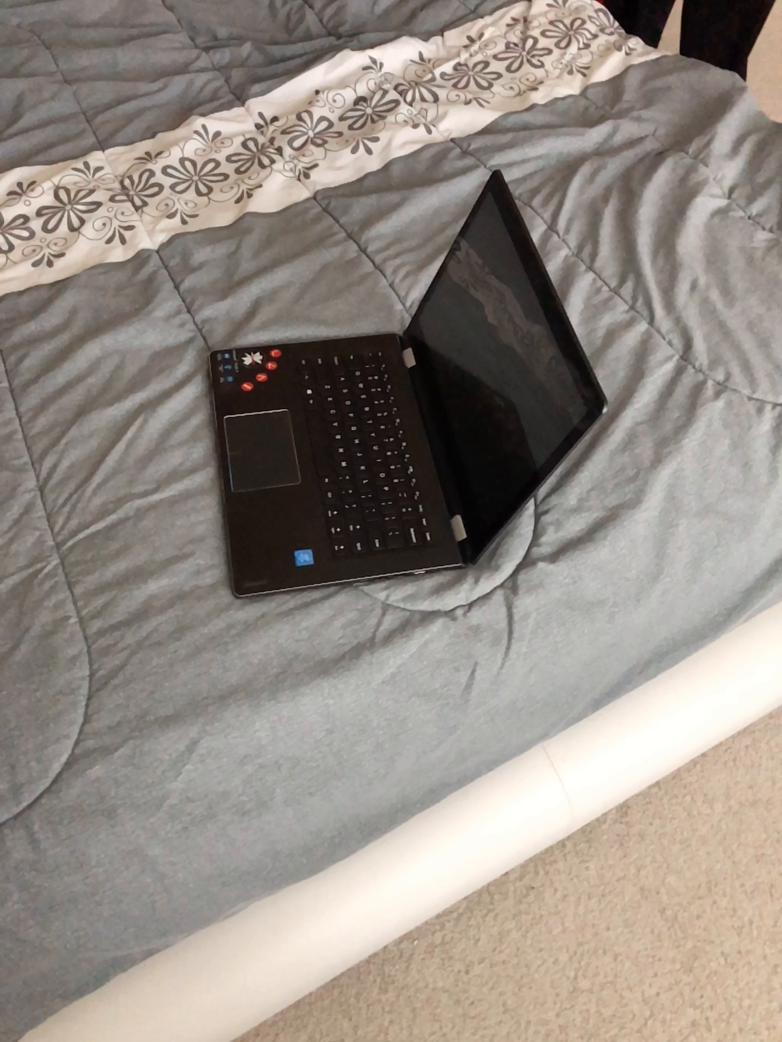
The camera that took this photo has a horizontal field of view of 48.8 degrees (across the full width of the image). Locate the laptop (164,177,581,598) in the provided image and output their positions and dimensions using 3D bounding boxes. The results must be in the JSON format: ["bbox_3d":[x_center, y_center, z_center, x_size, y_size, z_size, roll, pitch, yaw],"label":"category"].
[{"bbox_3d":[-0.032,-0.152,0.931,0.351,0.214,0.362,-9,56,-6],"label":"laptop"}]
